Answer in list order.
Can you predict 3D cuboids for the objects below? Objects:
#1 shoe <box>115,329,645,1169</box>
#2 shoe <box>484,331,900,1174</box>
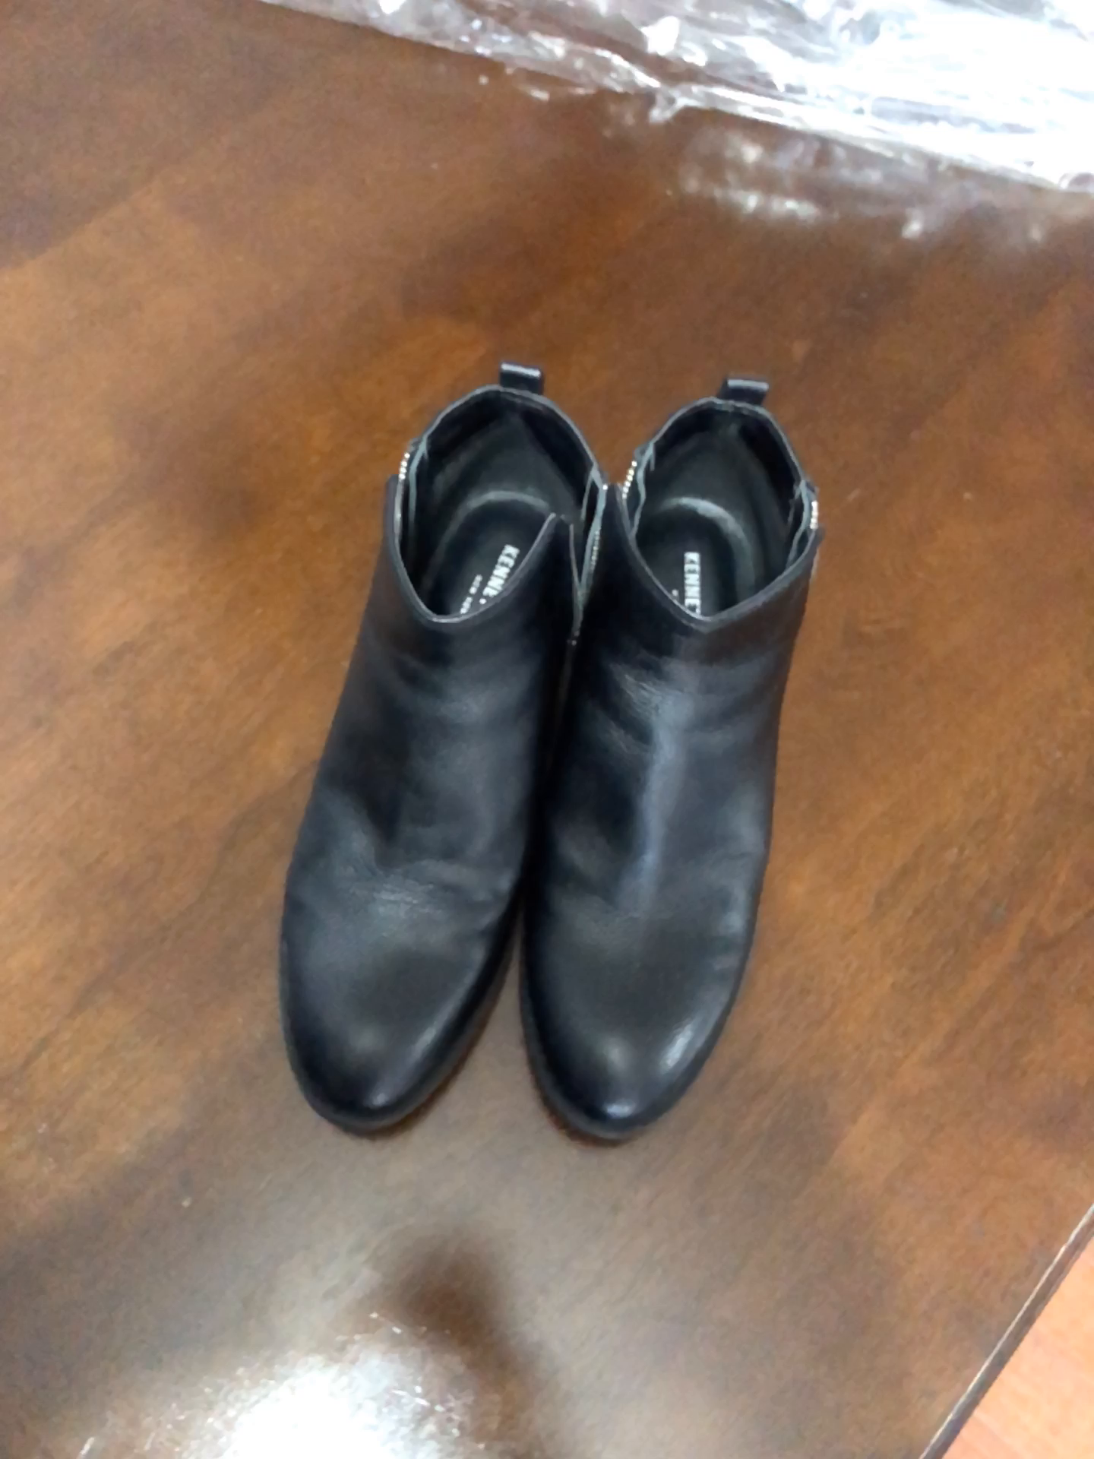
[{"bbox_3d":[-0.045,0.009,0.443,0.100,0.130,0.260,12,67,2],"label":"shoe"},{"bbox_3d":[0.051,0.011,0.438,0.100,0.130,0.260,10,67,1],"label":"shoe"}]
